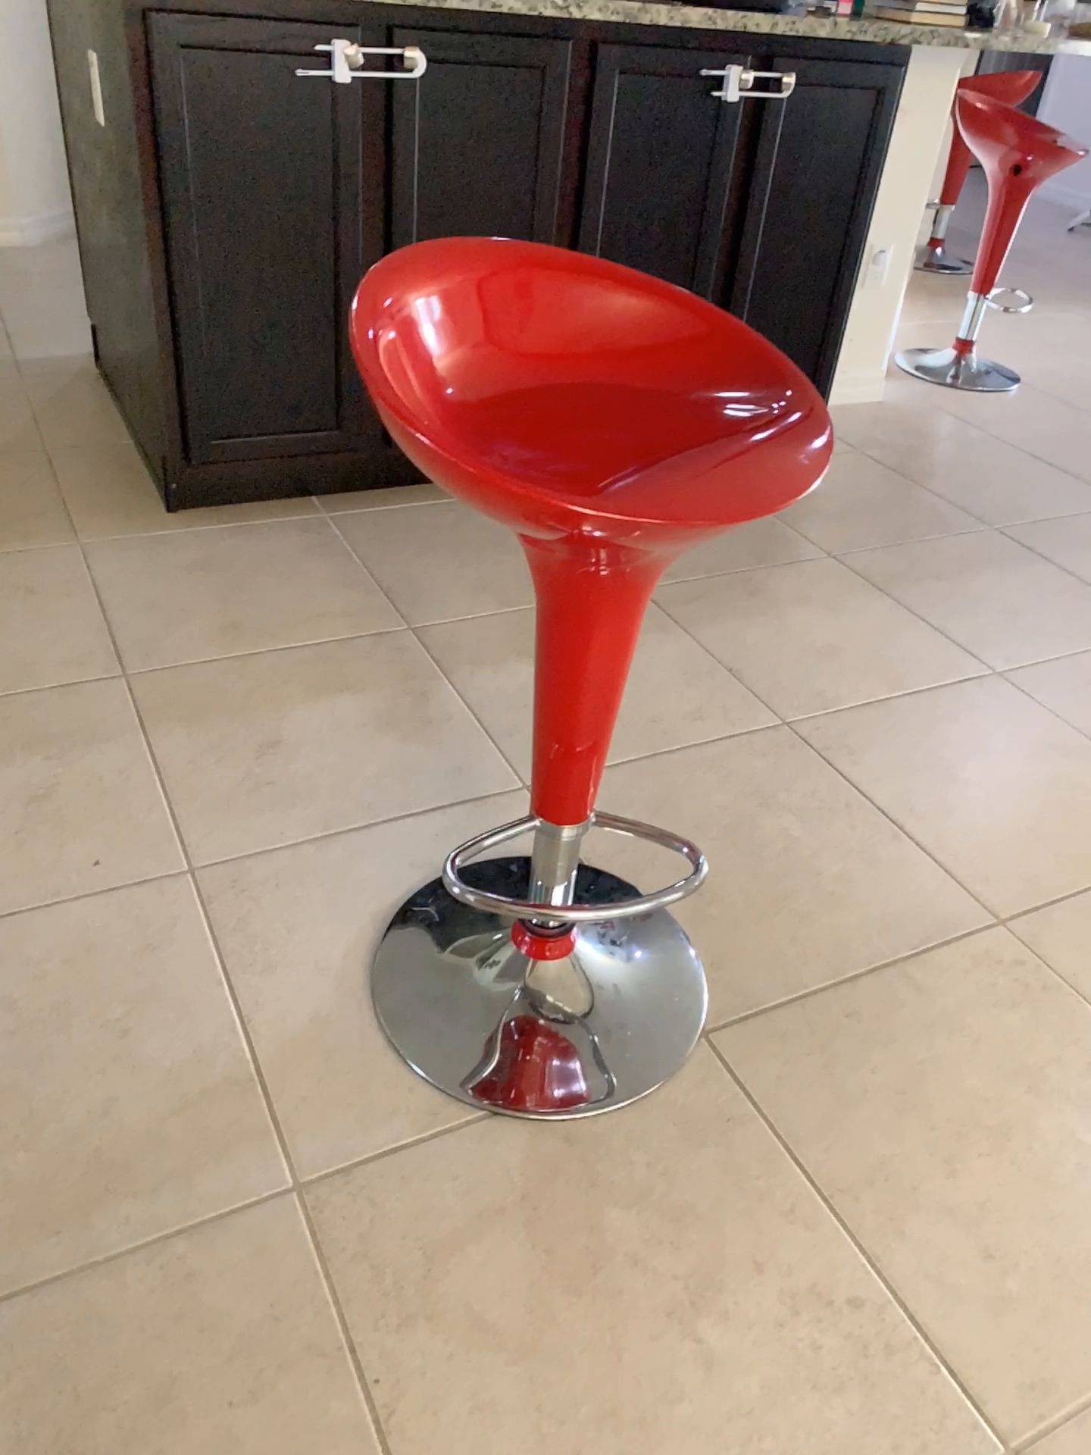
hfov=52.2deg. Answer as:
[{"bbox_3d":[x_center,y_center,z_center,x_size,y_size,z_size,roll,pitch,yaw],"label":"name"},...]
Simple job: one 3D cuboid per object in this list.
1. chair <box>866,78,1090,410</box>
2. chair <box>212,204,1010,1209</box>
[{"bbox_3d":[1.239,-1.355,3.110,0.461,0.716,0.553,9,34,4],"label":"chair"},{"bbox_3d":[0.025,-0.043,1.053,0.433,0.726,0.440,32,42,32],"label":"chair"}]
